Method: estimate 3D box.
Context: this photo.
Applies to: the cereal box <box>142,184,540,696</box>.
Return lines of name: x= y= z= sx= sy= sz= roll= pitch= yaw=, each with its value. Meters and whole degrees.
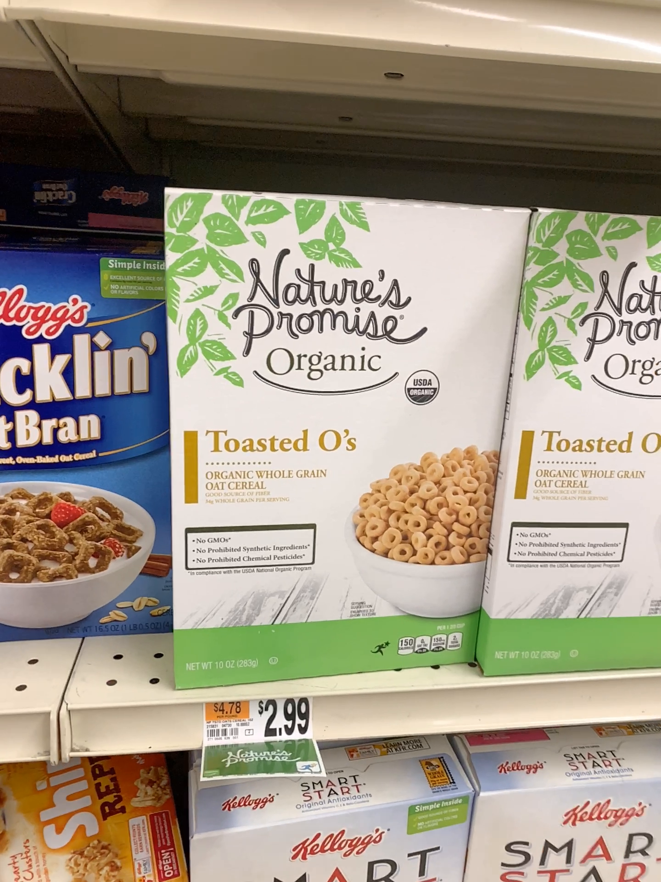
cereal box: x=-0.002 y=0.002 z=0.390 sx=0.190 sy=0.269 sz=0.070 roll=-1 pitch=18 yaw=-11
